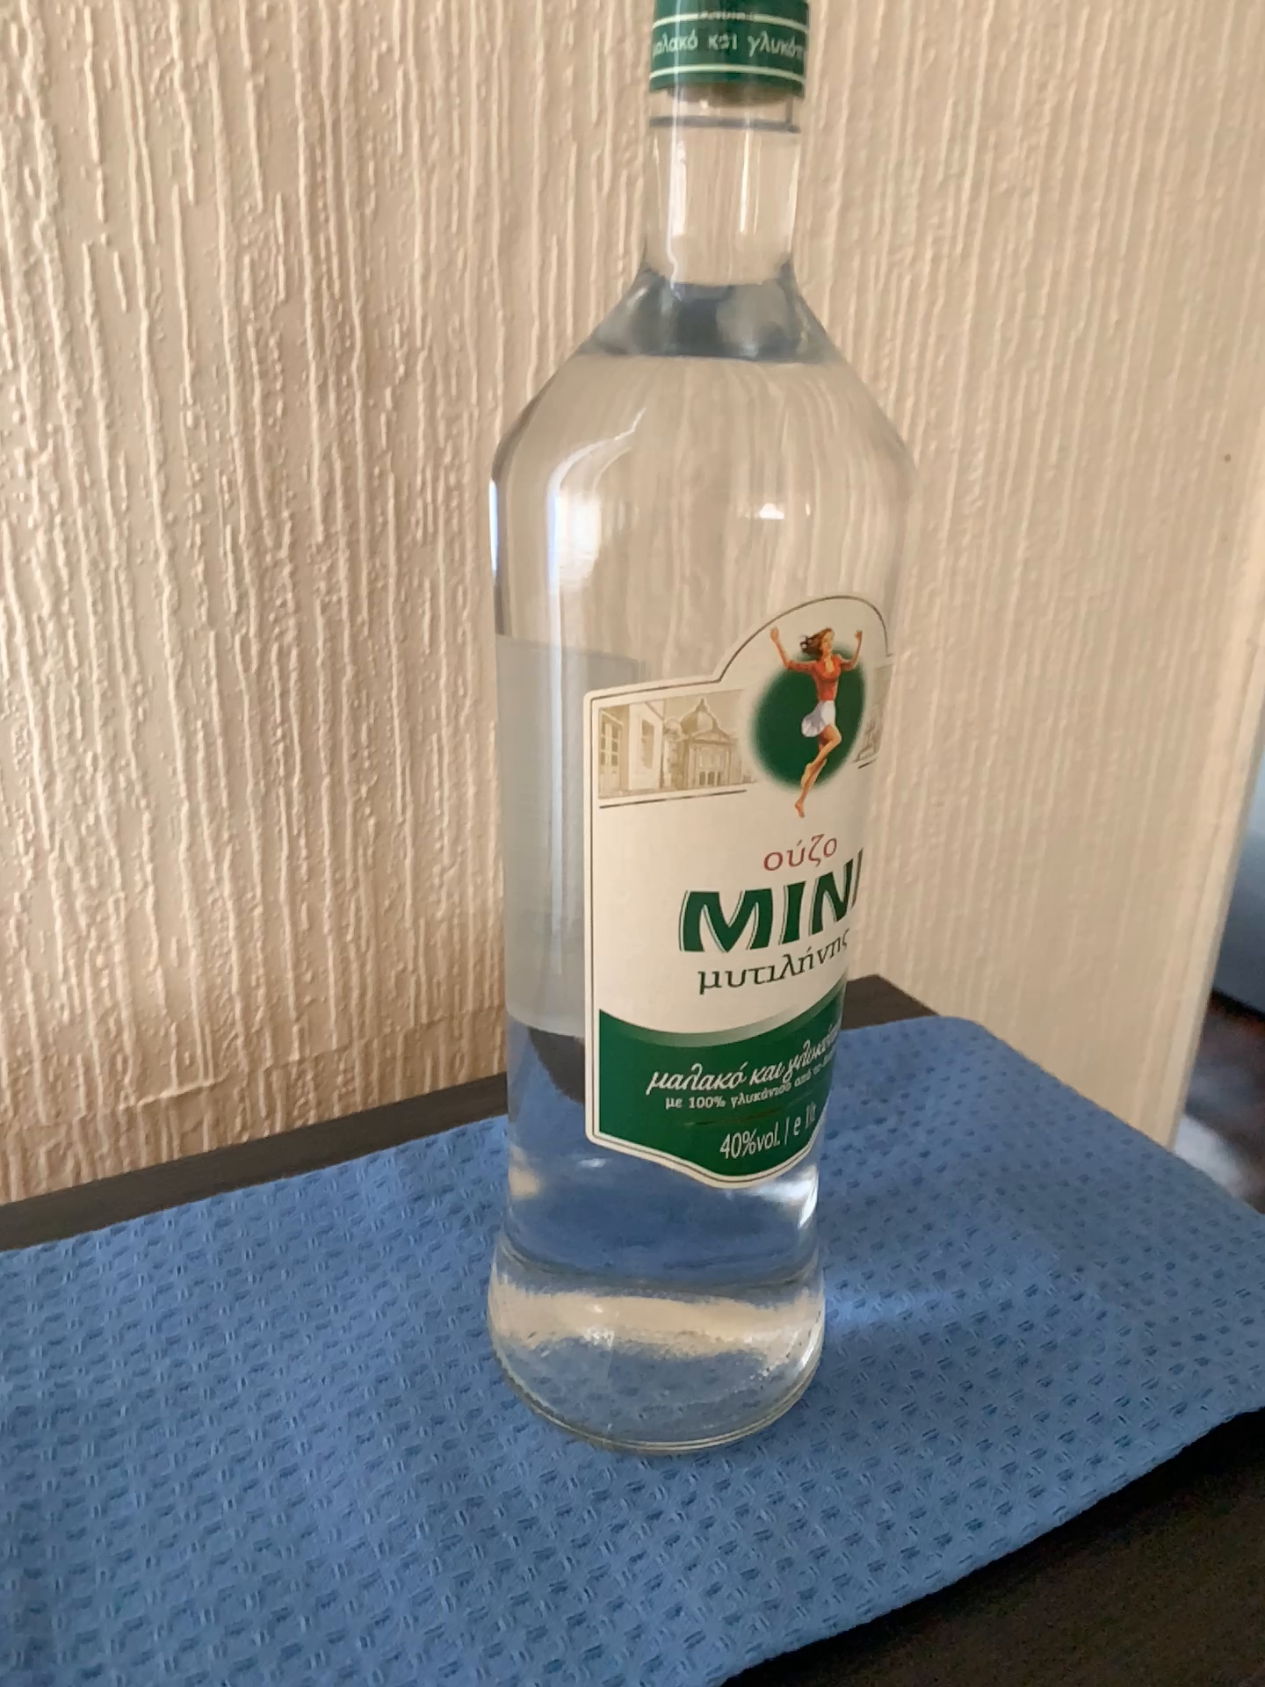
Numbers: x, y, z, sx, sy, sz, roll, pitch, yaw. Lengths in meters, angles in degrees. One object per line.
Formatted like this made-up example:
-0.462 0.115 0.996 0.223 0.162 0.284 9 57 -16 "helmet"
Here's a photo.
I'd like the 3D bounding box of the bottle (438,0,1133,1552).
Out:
0.016 -0.016 0.271 0.090 0.318 0.070 -9 24 -28 "bottle"
